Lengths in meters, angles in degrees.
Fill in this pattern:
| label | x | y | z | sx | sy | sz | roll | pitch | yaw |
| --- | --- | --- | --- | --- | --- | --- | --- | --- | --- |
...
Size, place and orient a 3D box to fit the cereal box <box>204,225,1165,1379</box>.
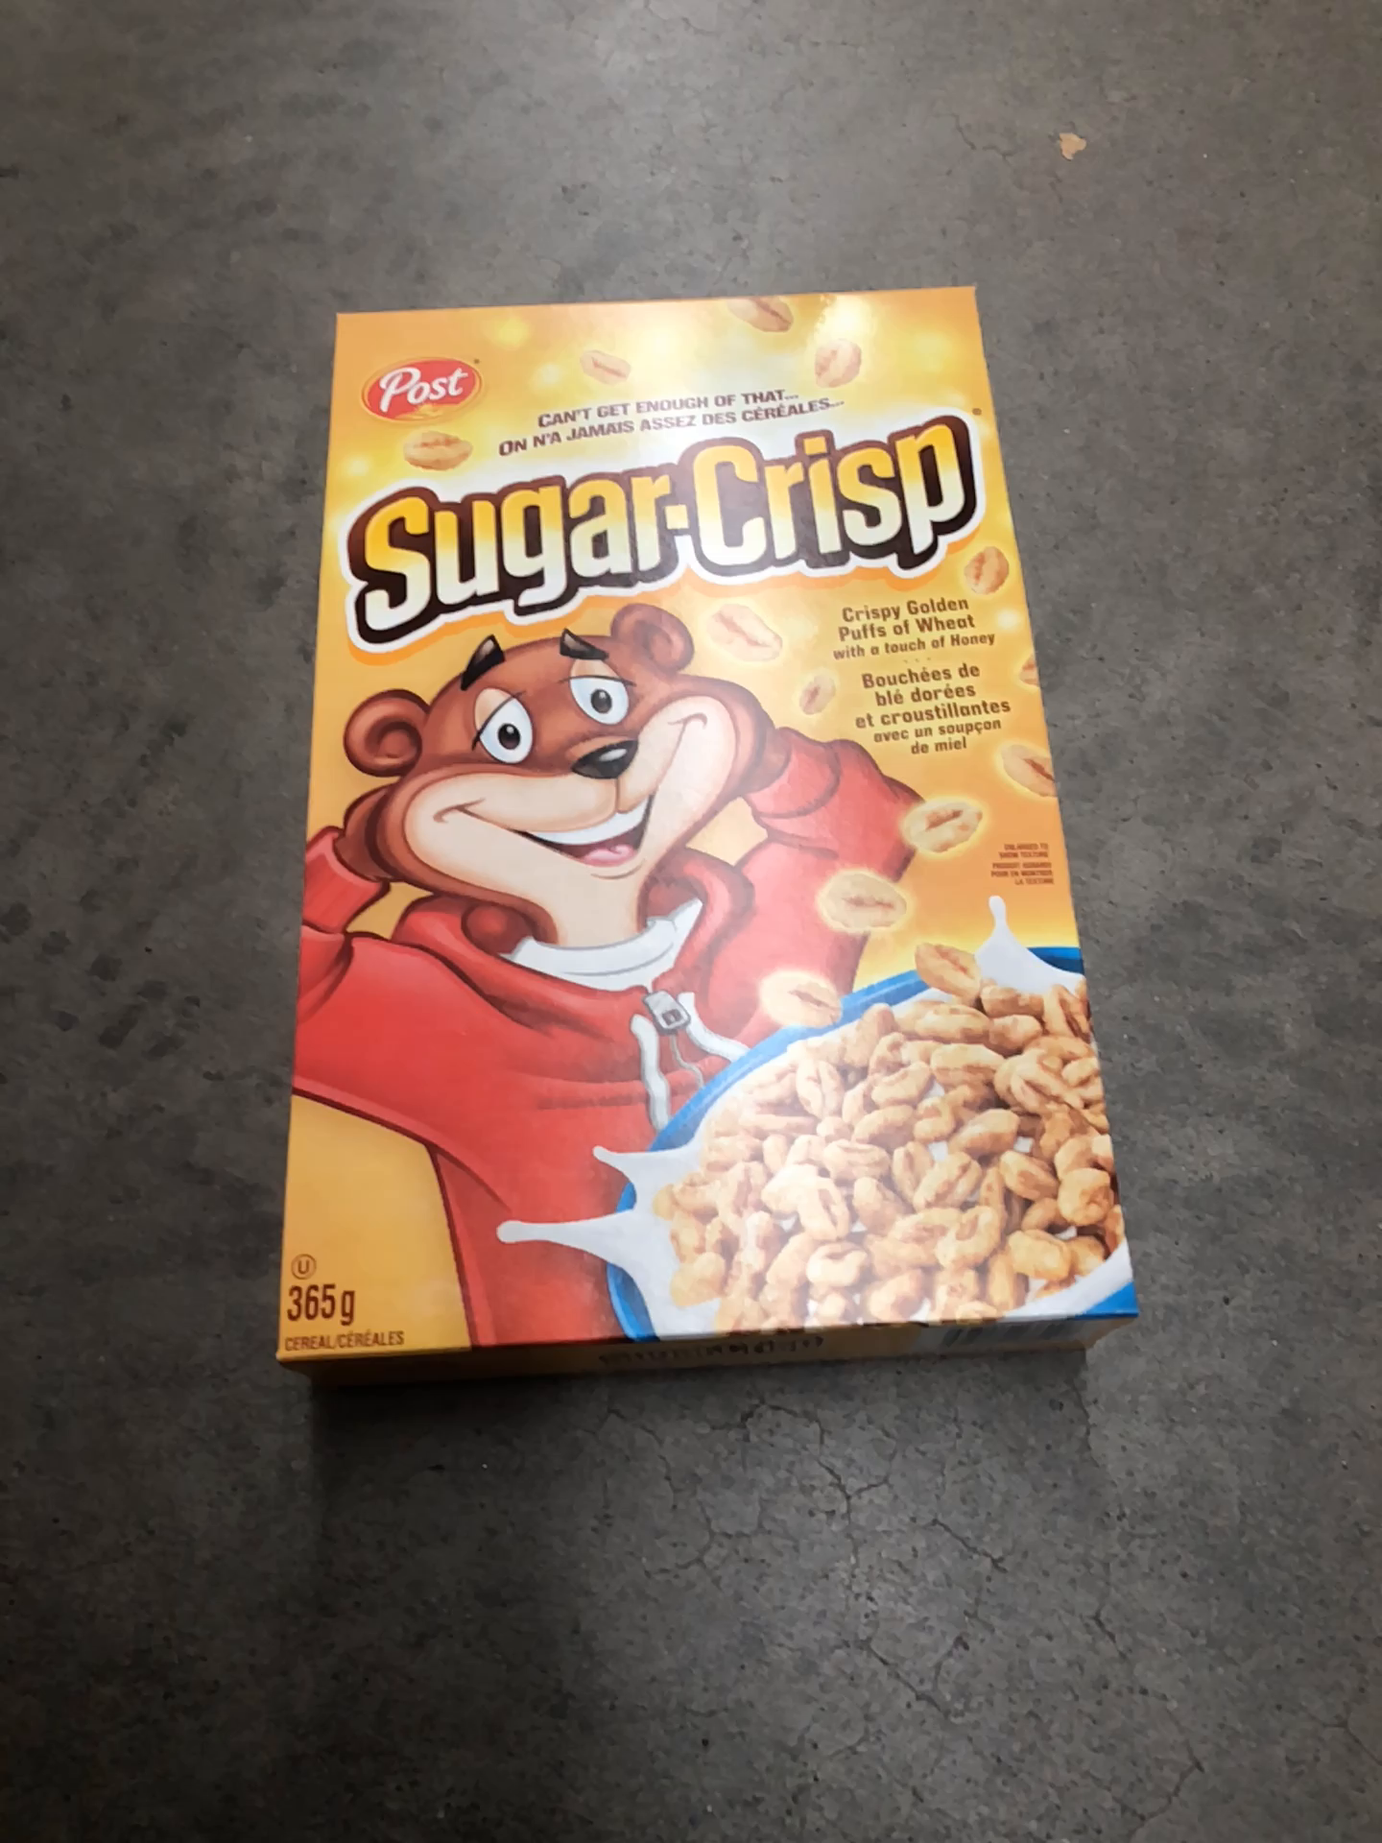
| label | x | y | z | sx | sy | sz | roll | pitch | yaw |
| --- | --- | --- | --- | --- | --- | --- | --- | --- | --- |
| cereal box | -0.007 | -0.043 | 0.401 | 0.200 | 0.060 | 0.301 | -3 | 67 | 0 |
